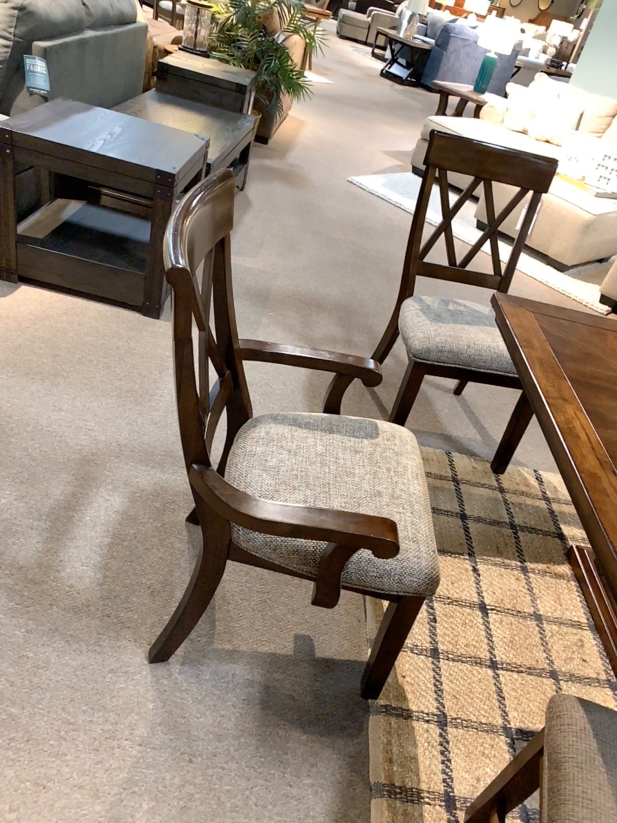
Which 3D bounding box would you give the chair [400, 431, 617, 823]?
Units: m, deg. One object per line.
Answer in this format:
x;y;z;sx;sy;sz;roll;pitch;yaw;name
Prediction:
0.536;0.644;0.689;0.505;0.936;0.647;20;35;7;chair

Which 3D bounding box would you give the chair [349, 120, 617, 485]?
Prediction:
0.537;-0.345;2.070;0.505;0.916;0.647;9;36;-11;chair

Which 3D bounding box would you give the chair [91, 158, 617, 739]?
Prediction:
0.001;0.099;1.259;0.654;0.896;0.548;13;35;-4;chair

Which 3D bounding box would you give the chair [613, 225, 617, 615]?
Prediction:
1.492;0.031;1.935;0.465;0.916;0.647;13;35;-4;chair
